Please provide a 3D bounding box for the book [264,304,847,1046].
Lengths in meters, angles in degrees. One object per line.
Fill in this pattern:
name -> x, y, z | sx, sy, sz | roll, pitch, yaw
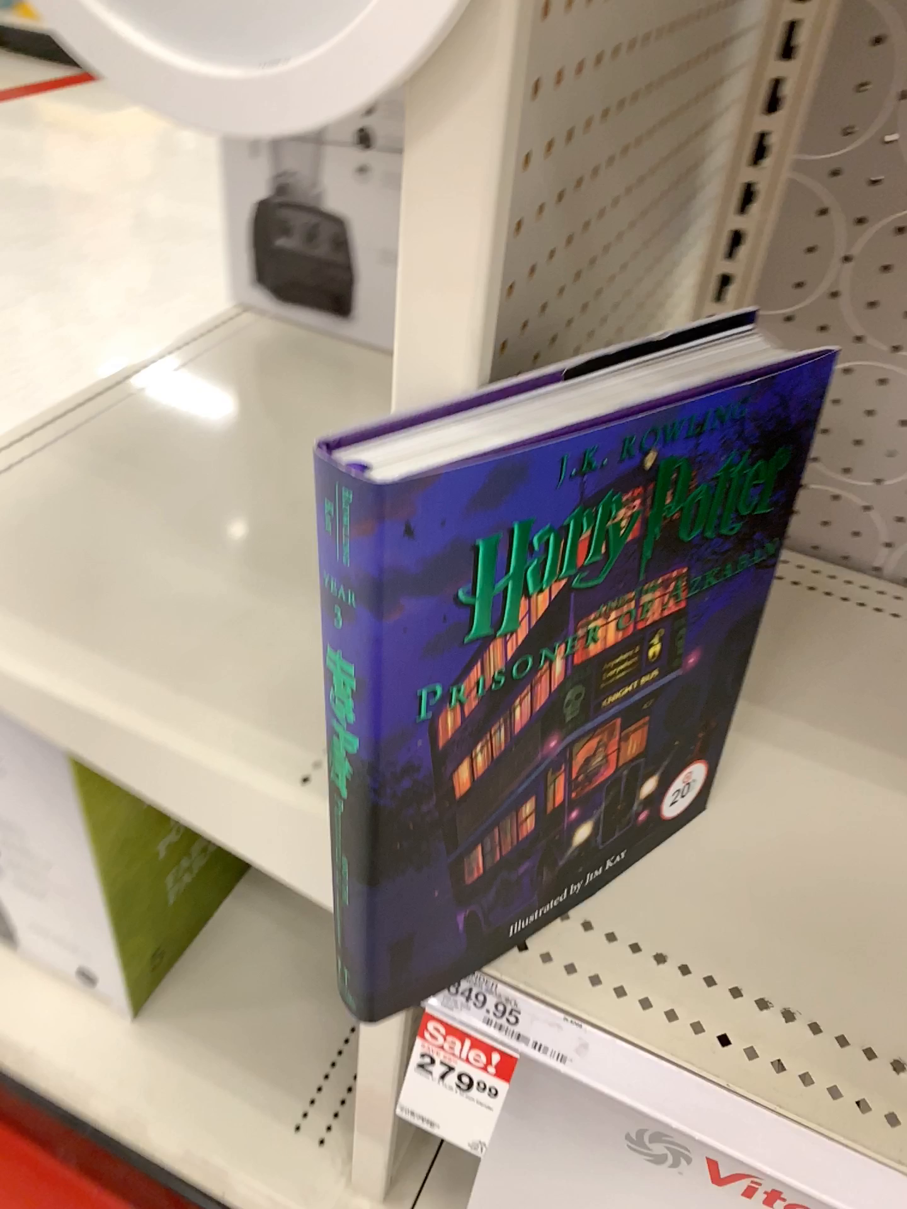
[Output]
book -> 0.046, 0.033, 0.420 | 0.241, 0.280, 0.050 | -23, 43, -31
